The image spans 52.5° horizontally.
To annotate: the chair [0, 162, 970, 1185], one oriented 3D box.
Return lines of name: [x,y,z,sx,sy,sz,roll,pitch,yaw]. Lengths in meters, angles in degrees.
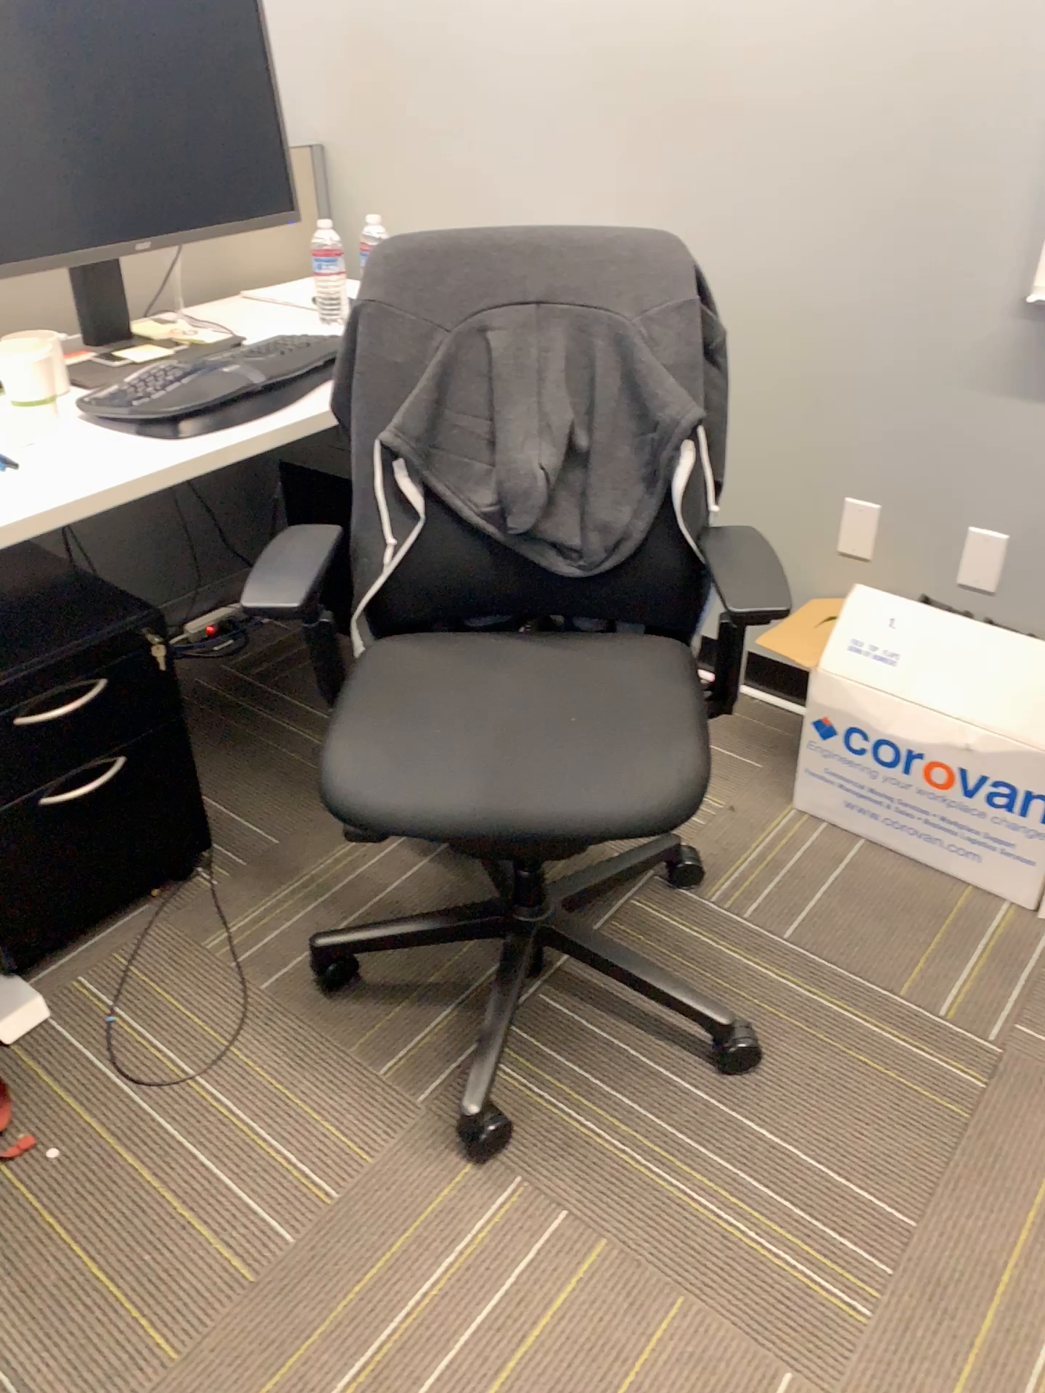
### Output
chair: [-0.007,-0.086,1.457,0.750,1.073,0.885,2,33,4]
